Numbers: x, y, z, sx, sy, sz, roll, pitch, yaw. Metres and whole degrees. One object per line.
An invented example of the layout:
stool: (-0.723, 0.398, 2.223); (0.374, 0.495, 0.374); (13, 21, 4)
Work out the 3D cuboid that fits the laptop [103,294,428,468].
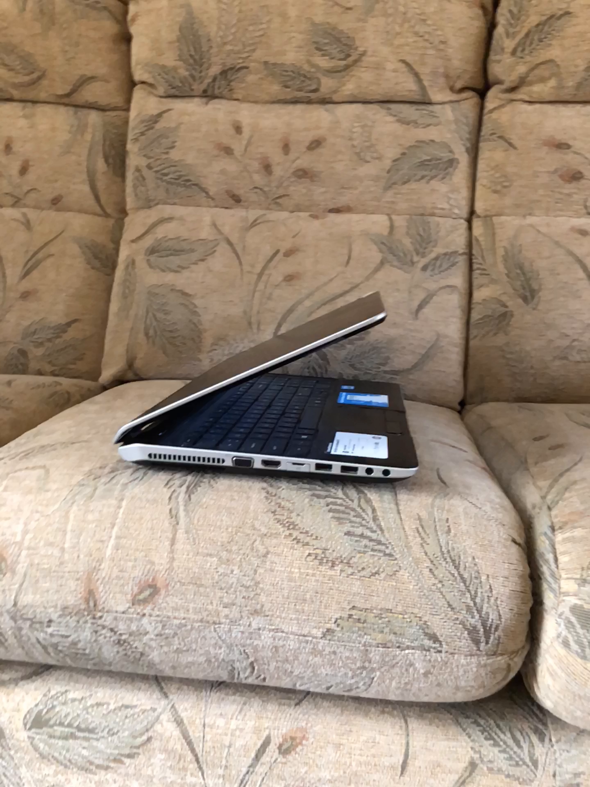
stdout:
laptop: (-0.003, -0.038, 0.717); (0.253, 0.113, 0.398); (3, 12, 5)
